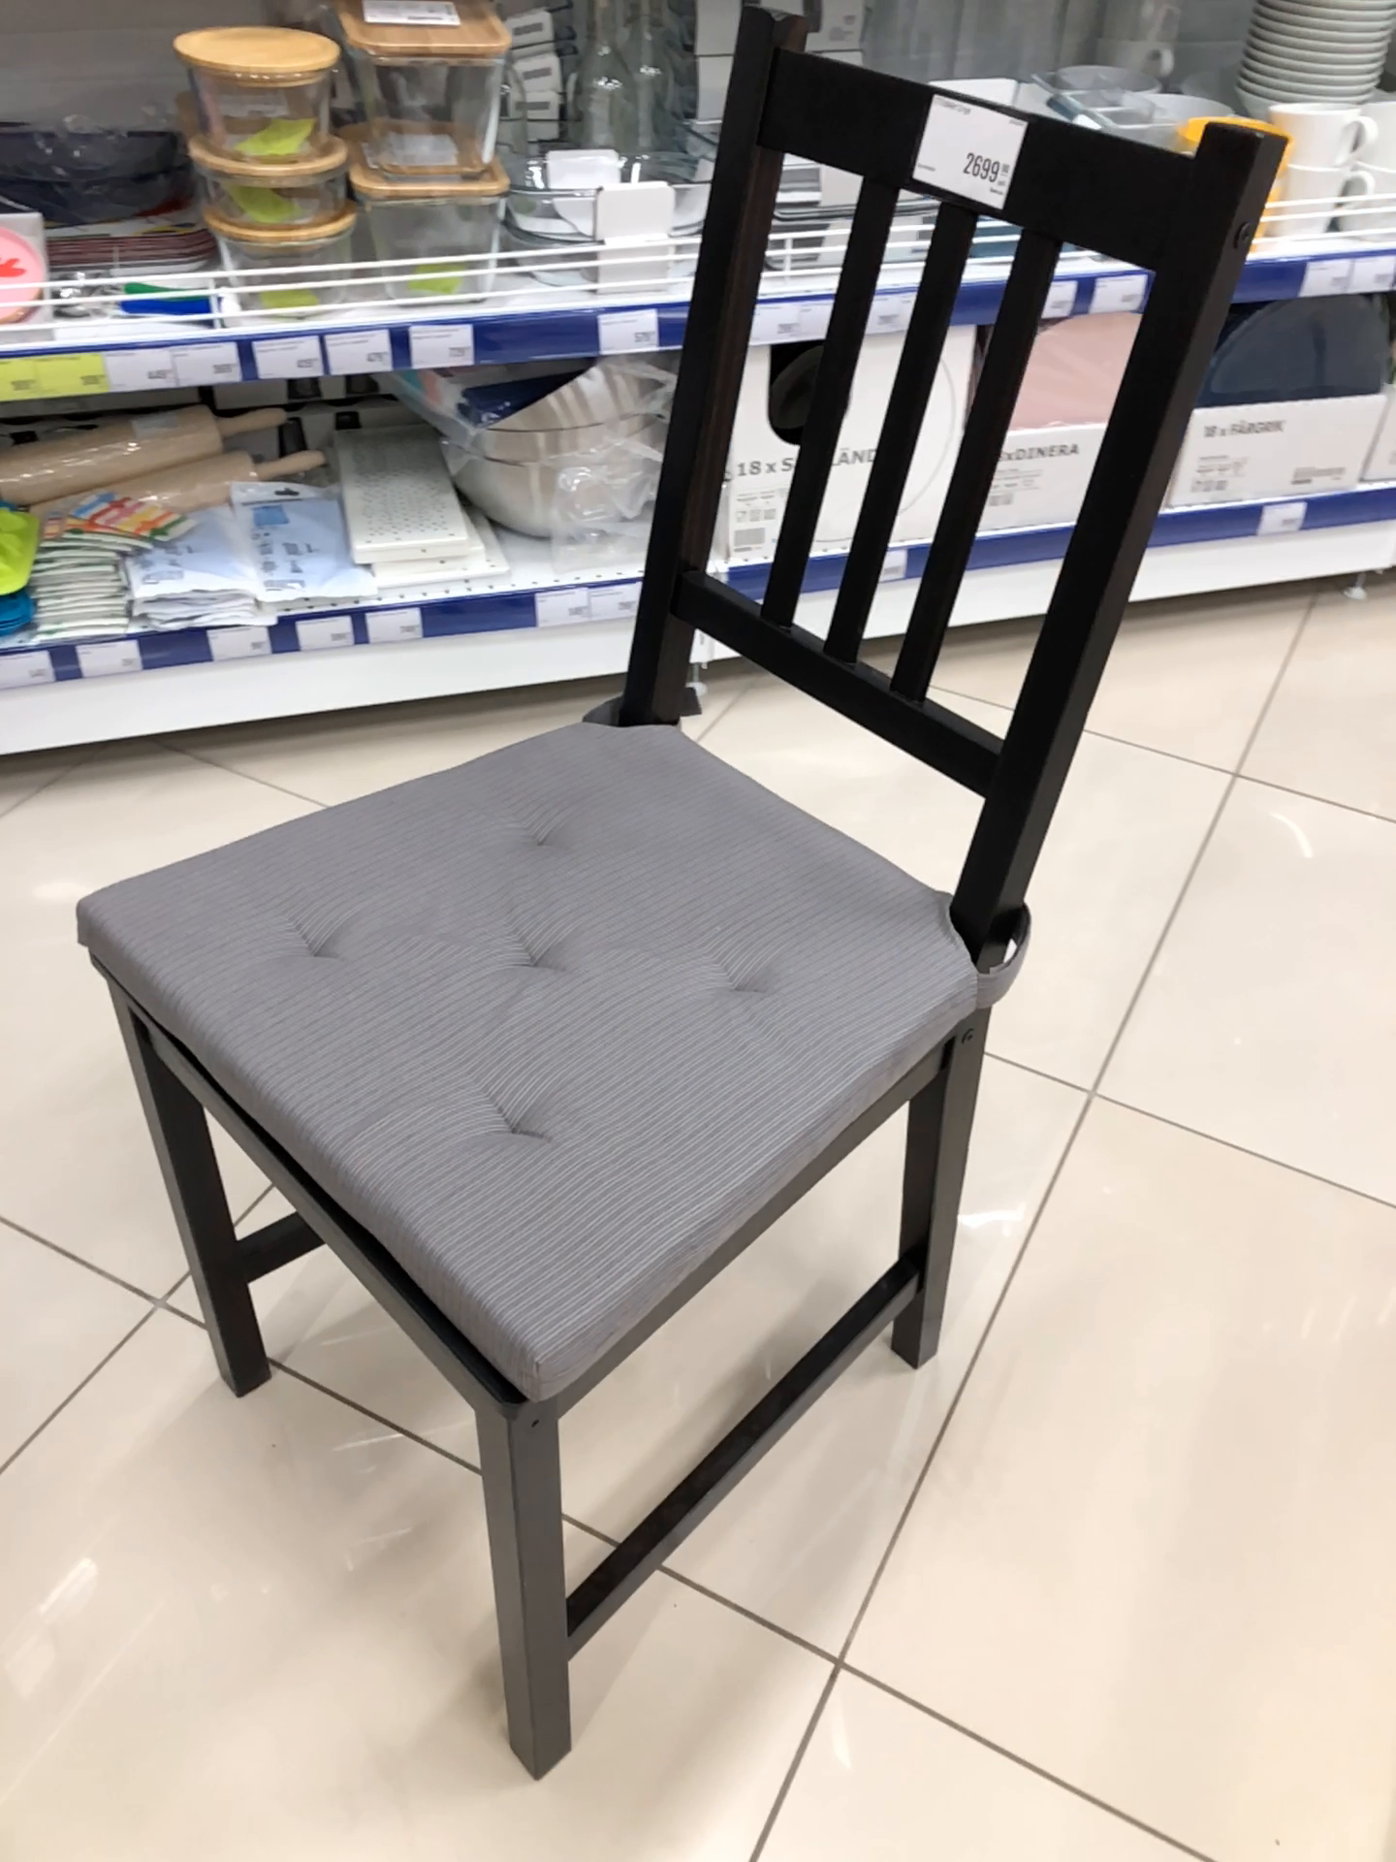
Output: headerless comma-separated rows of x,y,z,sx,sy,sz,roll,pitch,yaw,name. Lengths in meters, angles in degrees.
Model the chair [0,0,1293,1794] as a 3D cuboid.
-0.070,0.002,0.886,0.462,0.854,0.401,-31,50,-33,chair
